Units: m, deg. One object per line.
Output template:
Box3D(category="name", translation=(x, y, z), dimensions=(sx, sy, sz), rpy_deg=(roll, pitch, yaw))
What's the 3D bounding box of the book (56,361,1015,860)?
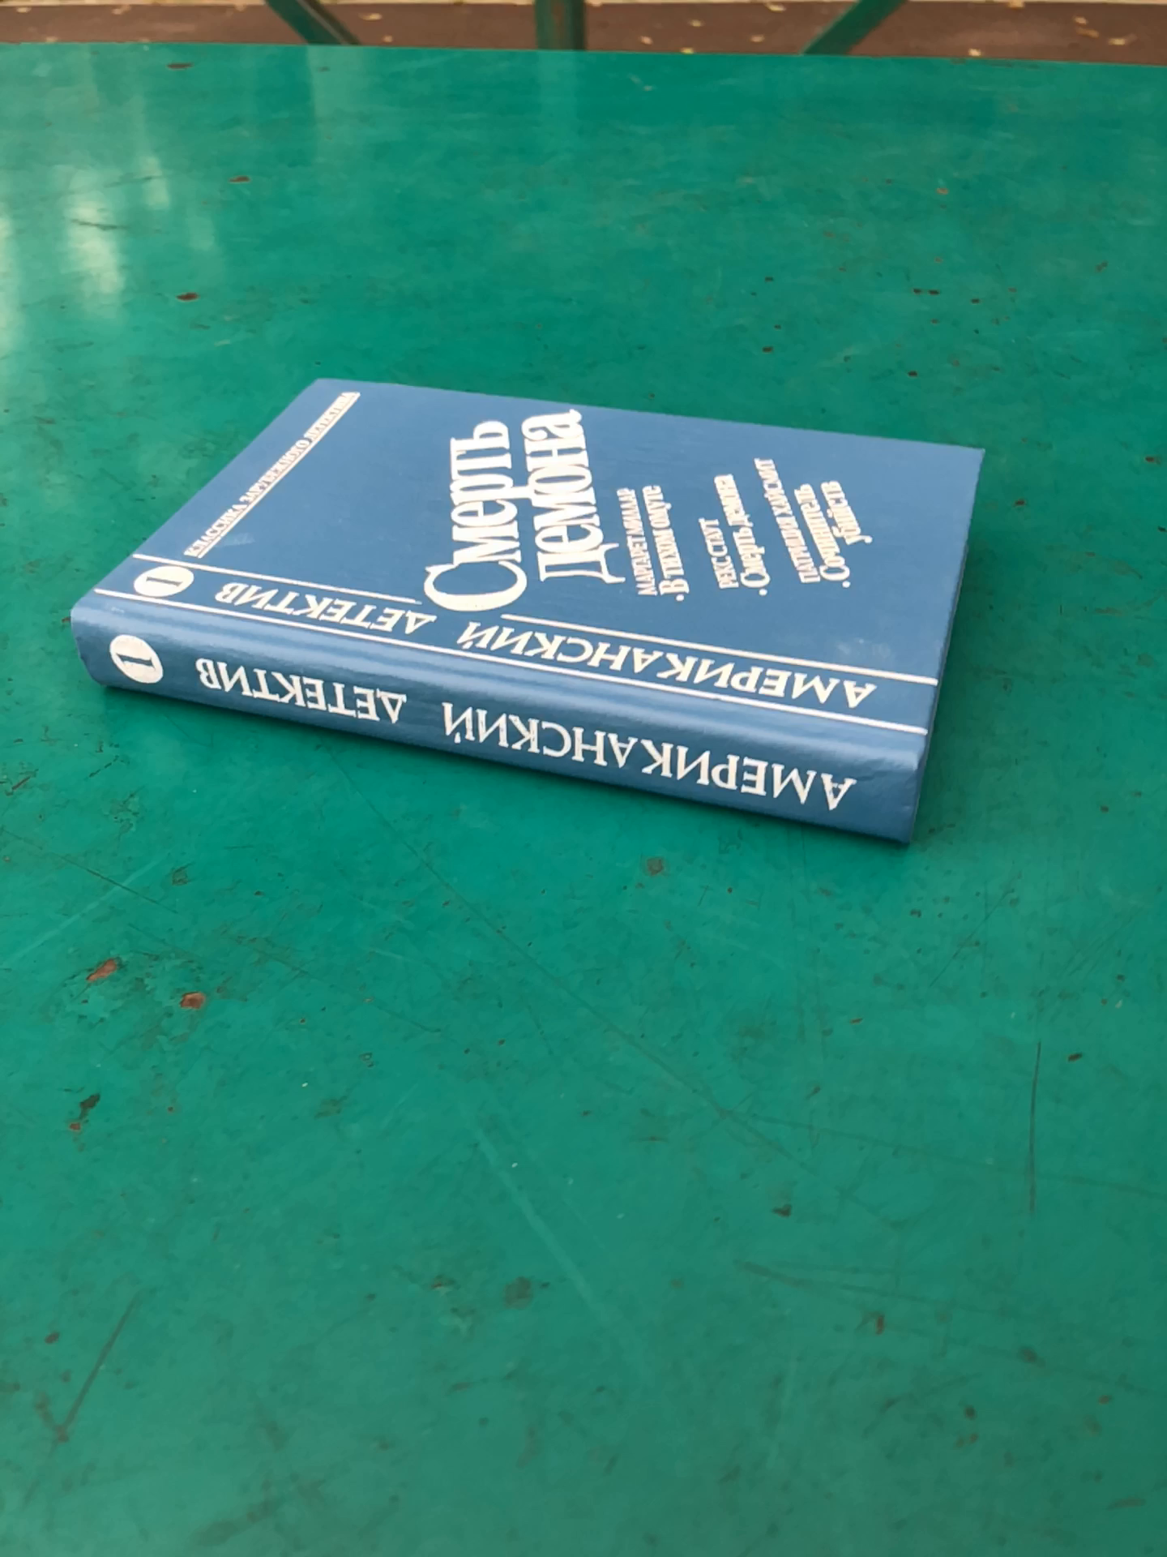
Box3D(category="book", translation=(-0.003, -0.058, 0.344), dimensions=(0.212, 0.034, 0.143), rpy_deg=(10, 42, 16))
